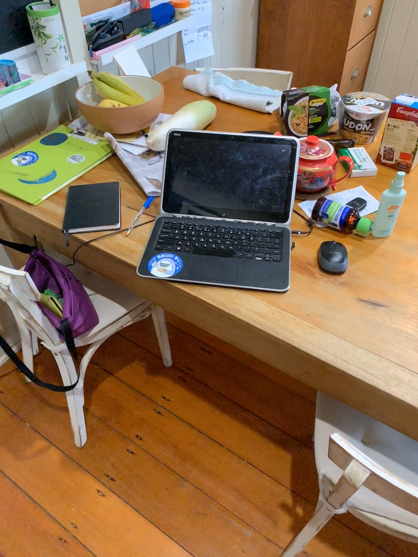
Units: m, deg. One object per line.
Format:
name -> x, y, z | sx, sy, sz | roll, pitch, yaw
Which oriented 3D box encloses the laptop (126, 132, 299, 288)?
laptop -> 0.029, -0.162, 0.920 | 0.303, 0.139, 0.341 | 5, 46, 6
